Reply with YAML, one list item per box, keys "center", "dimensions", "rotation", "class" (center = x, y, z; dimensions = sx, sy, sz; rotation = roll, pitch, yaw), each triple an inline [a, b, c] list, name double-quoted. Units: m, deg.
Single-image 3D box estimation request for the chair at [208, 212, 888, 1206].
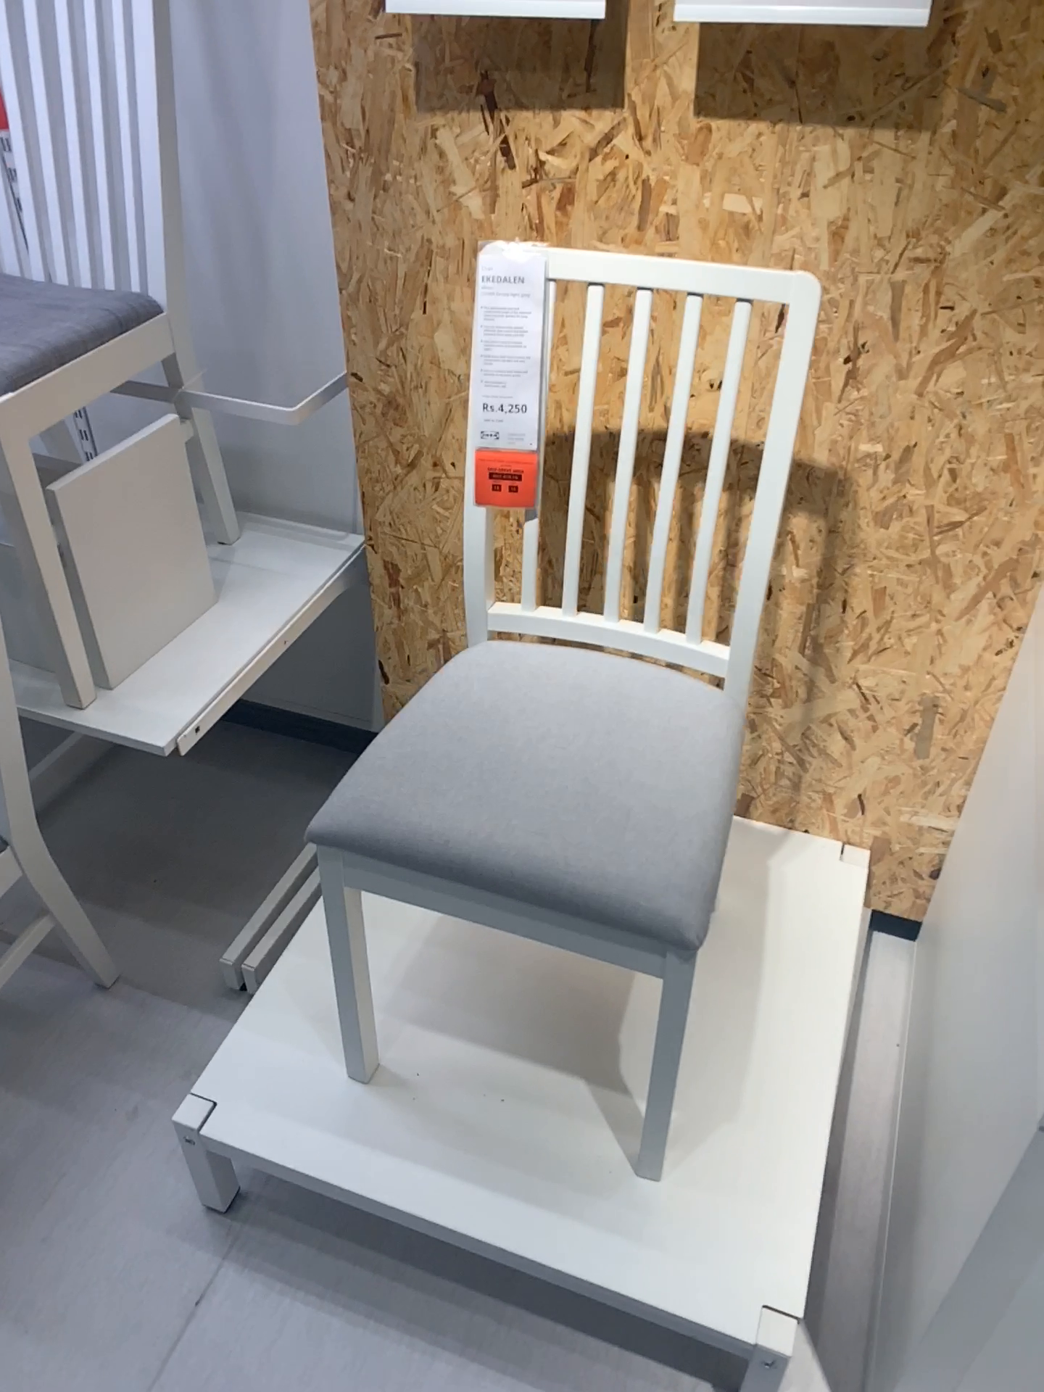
- center: [0.061, 0.038, 1.212]
  dimensions: [0.451, 0.956, 0.491]
  rotation: [13, 40, 16]
  class: "chair"
